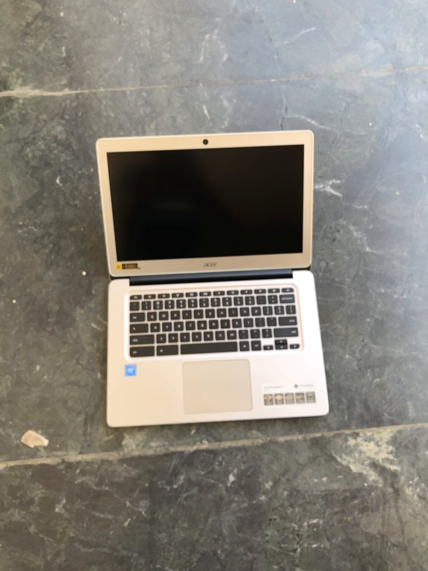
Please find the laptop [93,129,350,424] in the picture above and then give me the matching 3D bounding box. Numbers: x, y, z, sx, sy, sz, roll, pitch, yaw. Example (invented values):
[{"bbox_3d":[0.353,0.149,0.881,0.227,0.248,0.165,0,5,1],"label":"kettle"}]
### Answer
[{"bbox_3d":[-0.001,-0.016,0.736,0.338,0.117,0.424,-3,74,-2],"label":"laptop"}]
